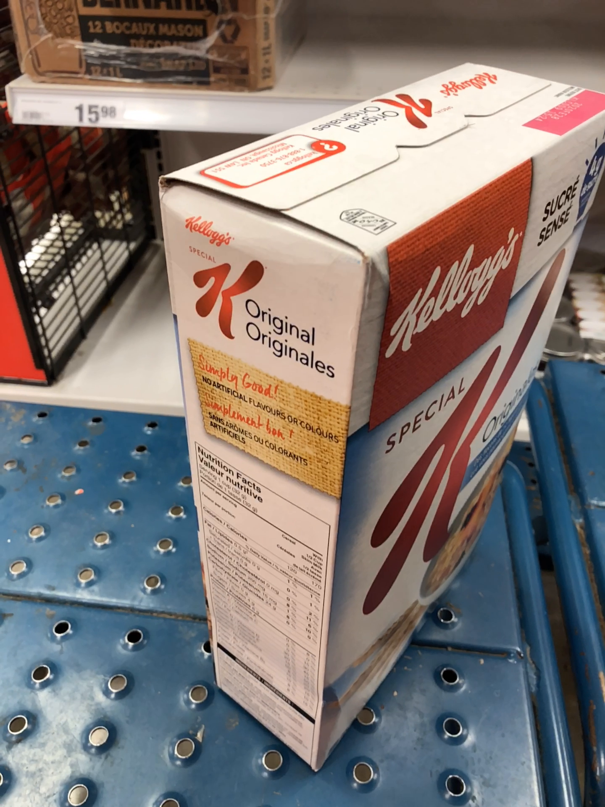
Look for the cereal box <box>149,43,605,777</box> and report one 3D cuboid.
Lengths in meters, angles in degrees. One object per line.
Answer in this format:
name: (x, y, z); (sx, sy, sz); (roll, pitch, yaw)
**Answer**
cereal box: (0.047, 0.007, 0.338); (0.080, 0.299, 0.211); (26, 44, 28)
